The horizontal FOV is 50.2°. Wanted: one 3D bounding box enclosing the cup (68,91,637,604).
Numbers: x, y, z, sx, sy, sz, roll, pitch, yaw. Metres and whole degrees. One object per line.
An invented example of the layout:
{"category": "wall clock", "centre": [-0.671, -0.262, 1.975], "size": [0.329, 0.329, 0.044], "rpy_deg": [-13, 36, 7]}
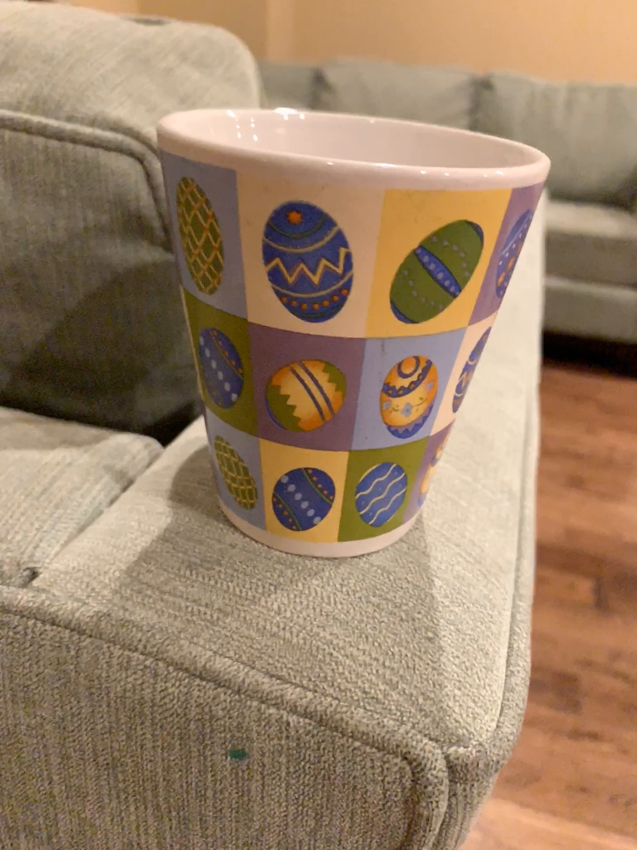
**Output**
{"category": "cup", "centre": [-0.003, -0.037, 0.190], "size": [0.095, 0.087, 0.123], "rpy_deg": [-11, 33, -27]}
